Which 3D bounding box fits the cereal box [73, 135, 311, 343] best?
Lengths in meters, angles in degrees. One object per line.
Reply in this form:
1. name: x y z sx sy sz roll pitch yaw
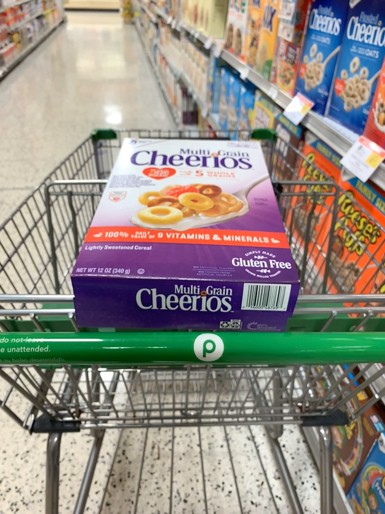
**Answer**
1. cereal box: 0.000 -0.049 0.486 0.200 0.069 0.323 2 38 -1
